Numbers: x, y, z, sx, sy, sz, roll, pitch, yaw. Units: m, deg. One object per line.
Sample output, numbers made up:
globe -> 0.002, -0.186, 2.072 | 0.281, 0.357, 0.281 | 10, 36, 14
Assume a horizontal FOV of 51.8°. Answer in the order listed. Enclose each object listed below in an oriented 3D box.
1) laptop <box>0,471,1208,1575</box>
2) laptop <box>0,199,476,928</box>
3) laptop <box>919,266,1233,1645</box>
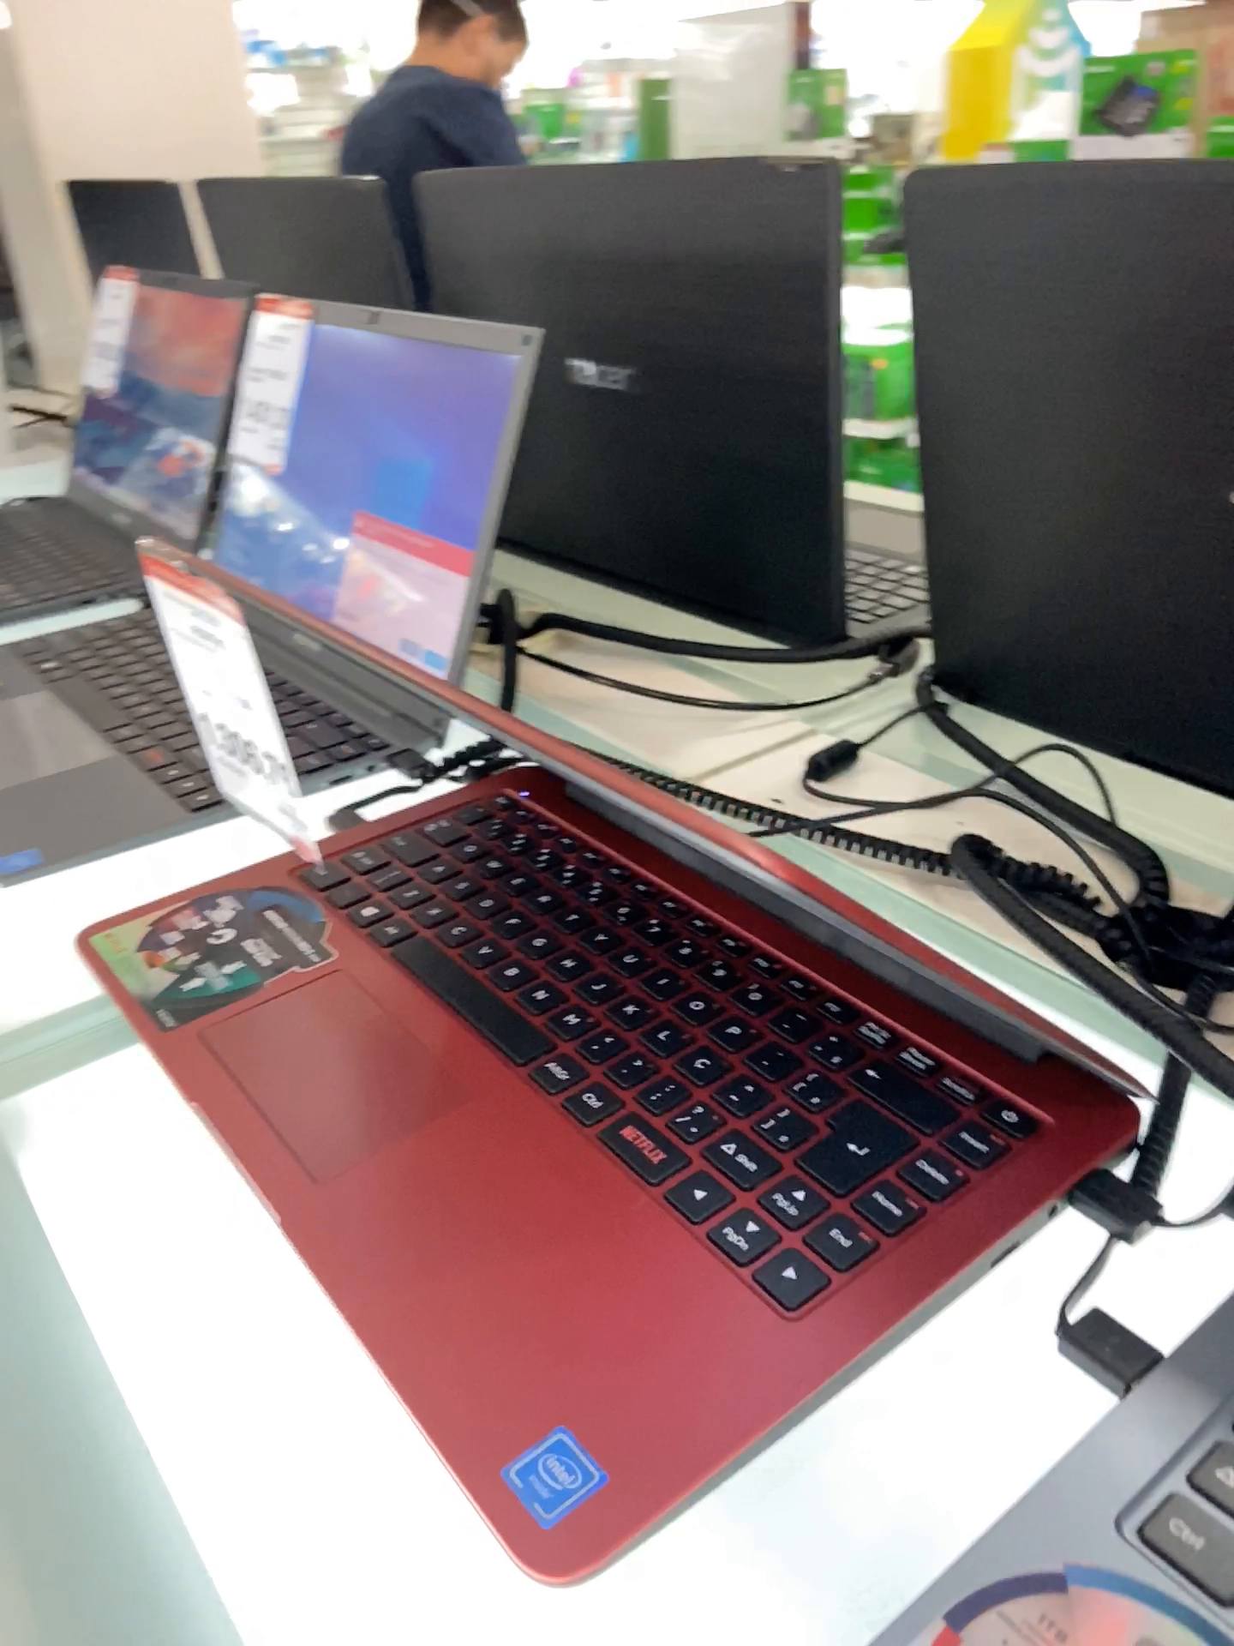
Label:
laptop -> -0.030, 0.002, 0.402 | 0.212, 0.144, 0.321 | -22, 32, -31
laptop -> -0.239, -0.167, 0.639 | 0.235, 0.159, 0.287 | 31, 44, 31
laptop -> 0.253, 0.100, 0.115 | 0.277, 0.207, 0.386 | -26, 37, -33
